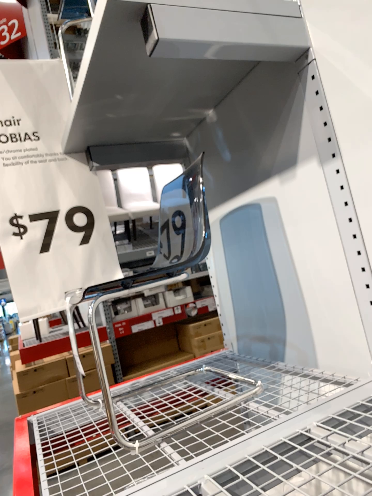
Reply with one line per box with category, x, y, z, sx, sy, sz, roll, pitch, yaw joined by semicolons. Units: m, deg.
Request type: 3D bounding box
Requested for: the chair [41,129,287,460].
chair;-0.130;0.110;1.346;0.550;0.841;0.530;-11;-5;-23
